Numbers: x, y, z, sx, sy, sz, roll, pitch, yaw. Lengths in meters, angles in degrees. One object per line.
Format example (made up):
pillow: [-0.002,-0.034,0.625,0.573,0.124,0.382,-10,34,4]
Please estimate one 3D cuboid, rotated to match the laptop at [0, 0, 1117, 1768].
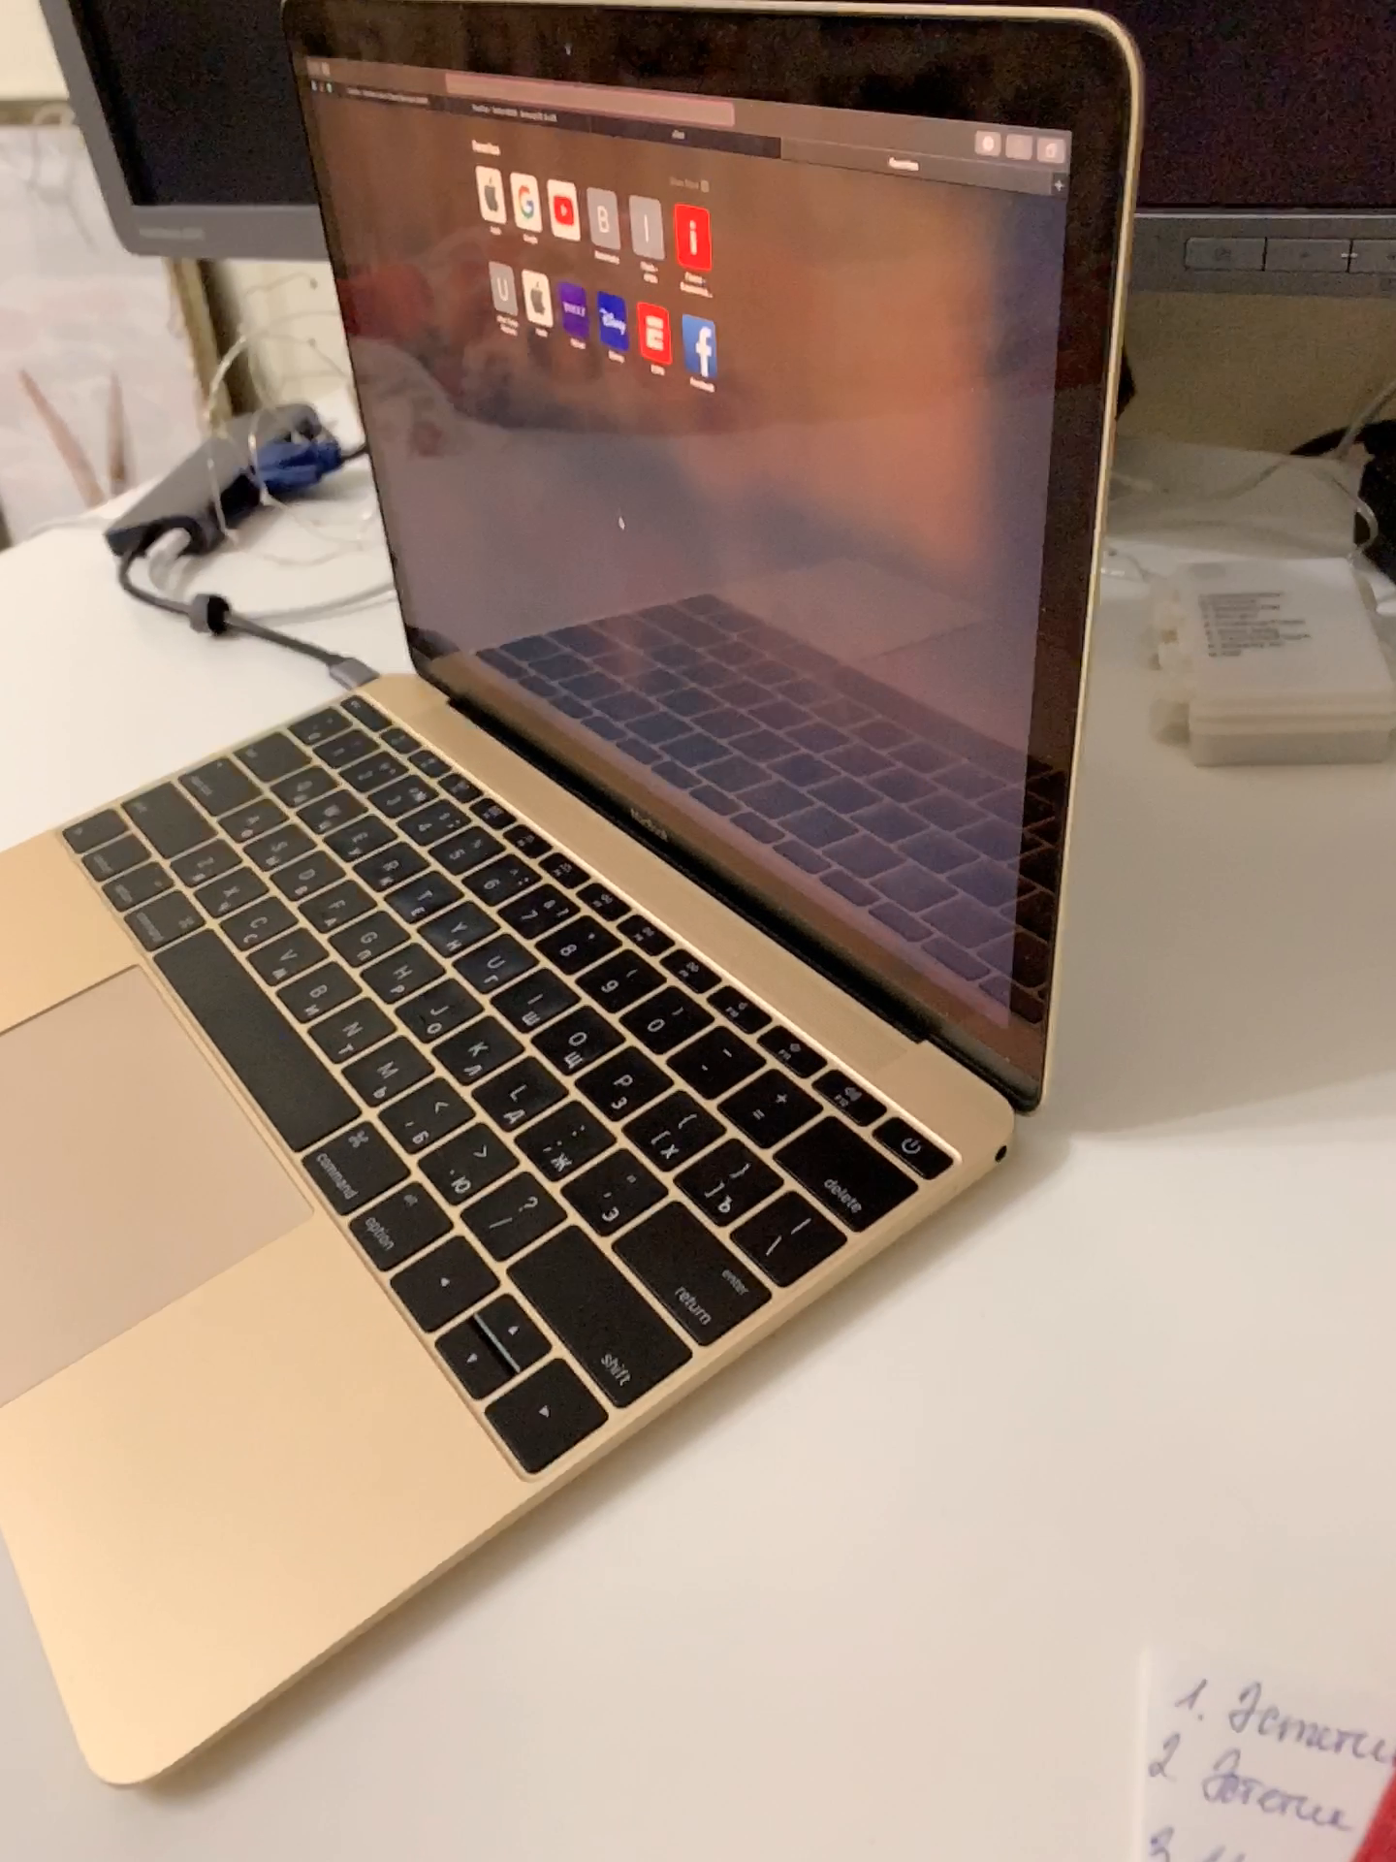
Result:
laptop: [-0.087,-0.054,0.270,0.197,0.168,0.248,-30,42,-23]
